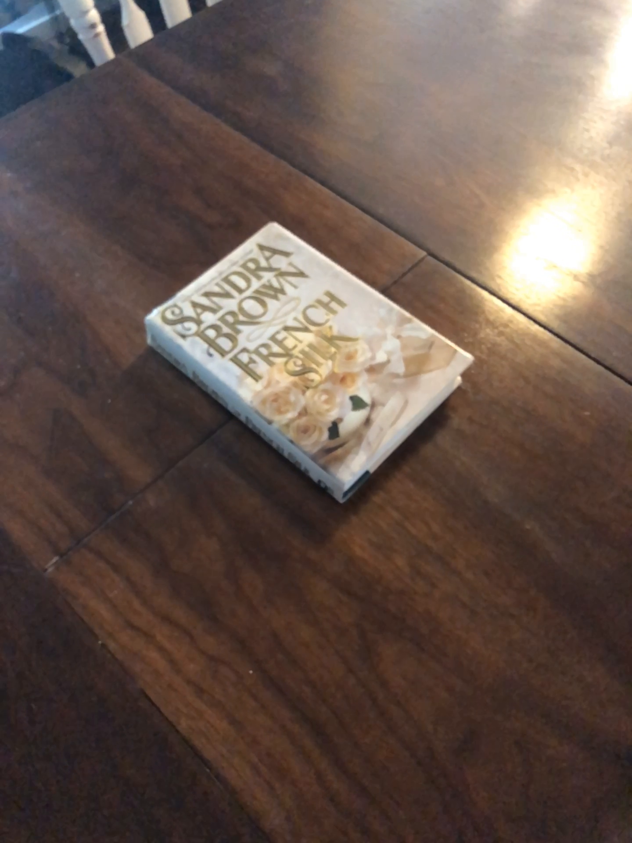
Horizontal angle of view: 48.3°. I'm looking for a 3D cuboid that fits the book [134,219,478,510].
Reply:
[{"bbox_3d":[-0.011,-0.061,0.599,0.240,0.033,0.161,38,67,21],"label":"book"}]
